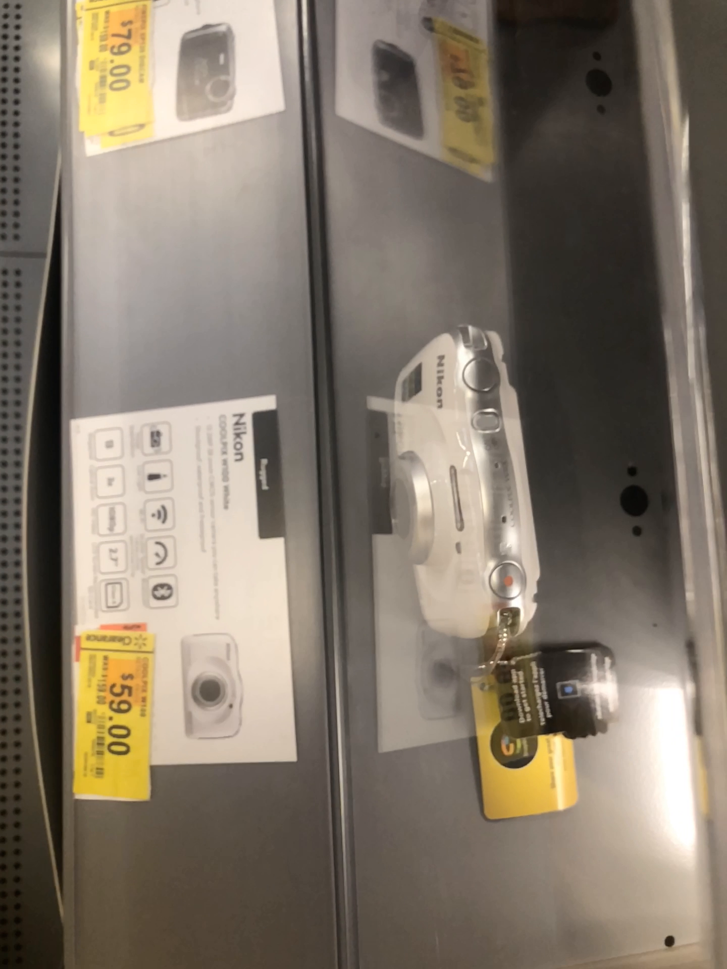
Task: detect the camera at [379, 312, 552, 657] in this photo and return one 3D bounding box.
[{"bbox_3d":[0.033,0.002,0.292,0.030,0.060,0.110,-5,84,-13],"label":"camera"}]
